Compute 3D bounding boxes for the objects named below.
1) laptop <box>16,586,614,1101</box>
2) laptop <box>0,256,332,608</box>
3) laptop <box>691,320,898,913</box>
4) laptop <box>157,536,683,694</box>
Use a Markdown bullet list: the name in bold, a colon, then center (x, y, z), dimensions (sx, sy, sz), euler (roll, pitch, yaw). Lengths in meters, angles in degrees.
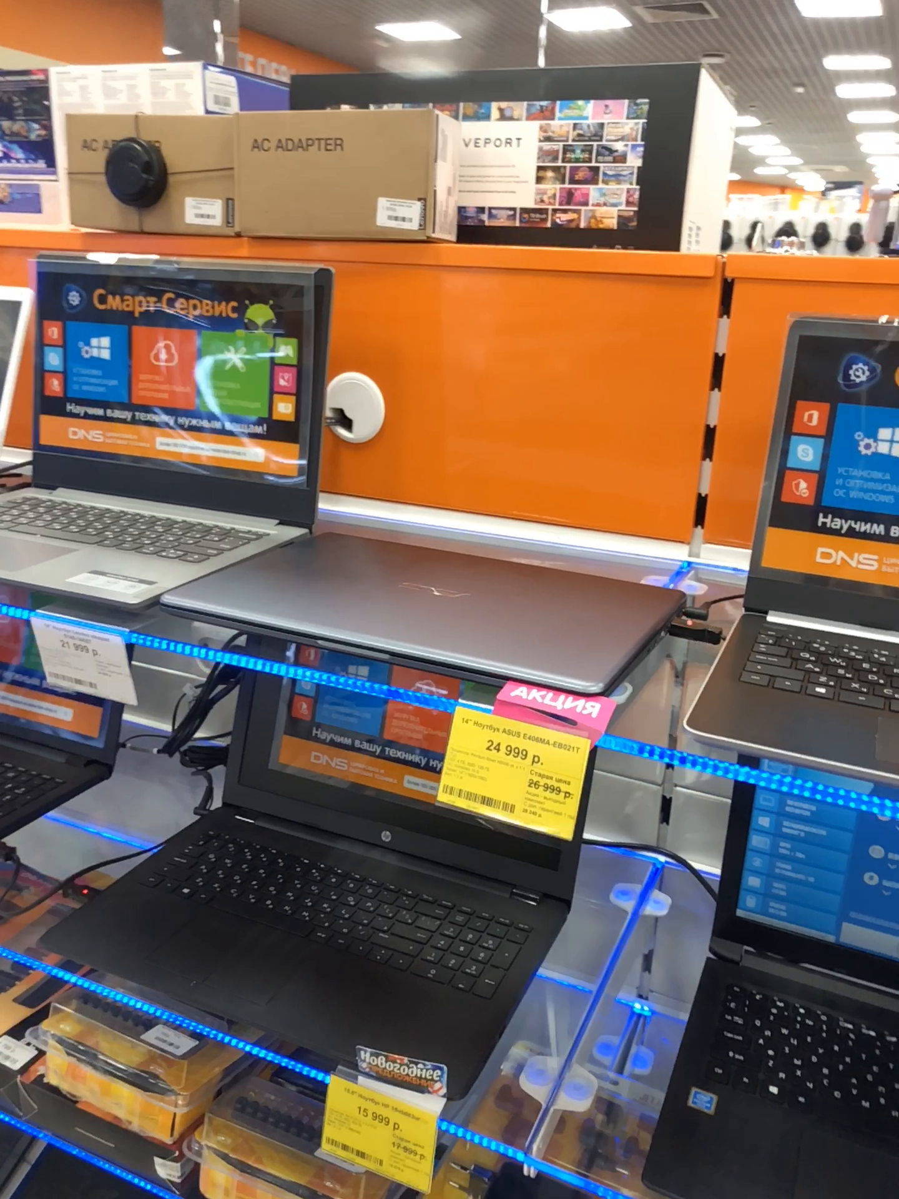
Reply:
- **laptop**: center (-0.095, 0.164, 0.847), dimensions (0.377, 0.227, 0.313), euler (10, 19, 23)
- **laptop**: center (-0.323, -0.169, 0.850), dimensions (0.353, 0.225, 0.290), euler (9, 20, 21)
- **laptop**: center (0.340, -0.035, 0.560), dimensions (0.336, 0.205, 0.272), euler (10, 20, 22)
- **laptop**: center (-0.015, -0.001, 0.727), dimensions (0.324, 0.001, 0.214), euler (10, 20, 24)
